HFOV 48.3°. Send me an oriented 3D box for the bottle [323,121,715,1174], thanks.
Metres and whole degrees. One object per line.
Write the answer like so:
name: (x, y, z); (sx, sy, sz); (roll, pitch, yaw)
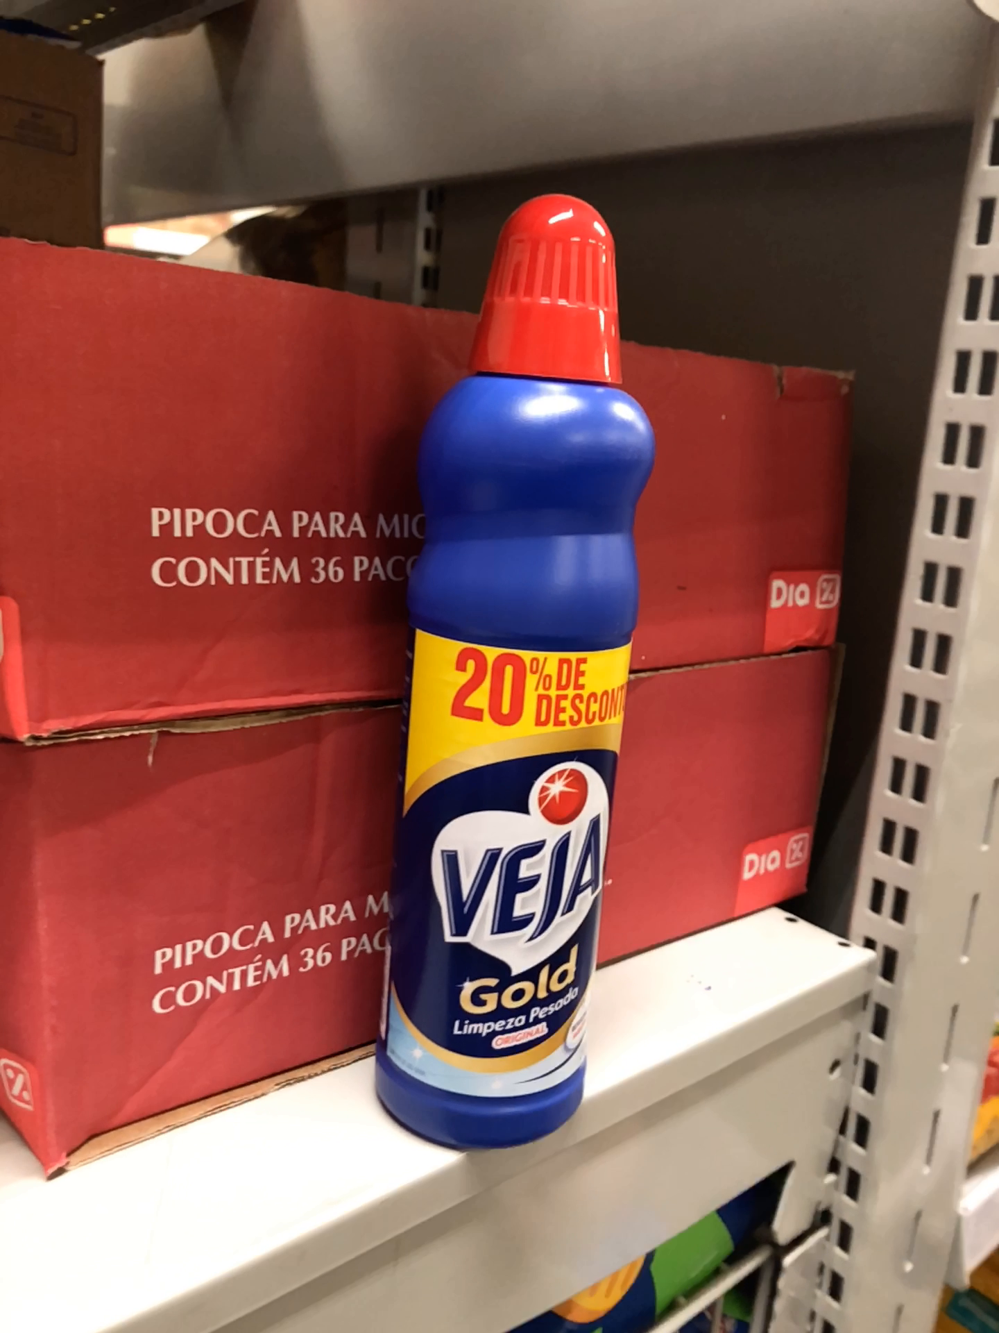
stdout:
bottle: (-0.003, -0.001, 0.301); (0.070, 0.249, 0.070); (3, 14, -1)
